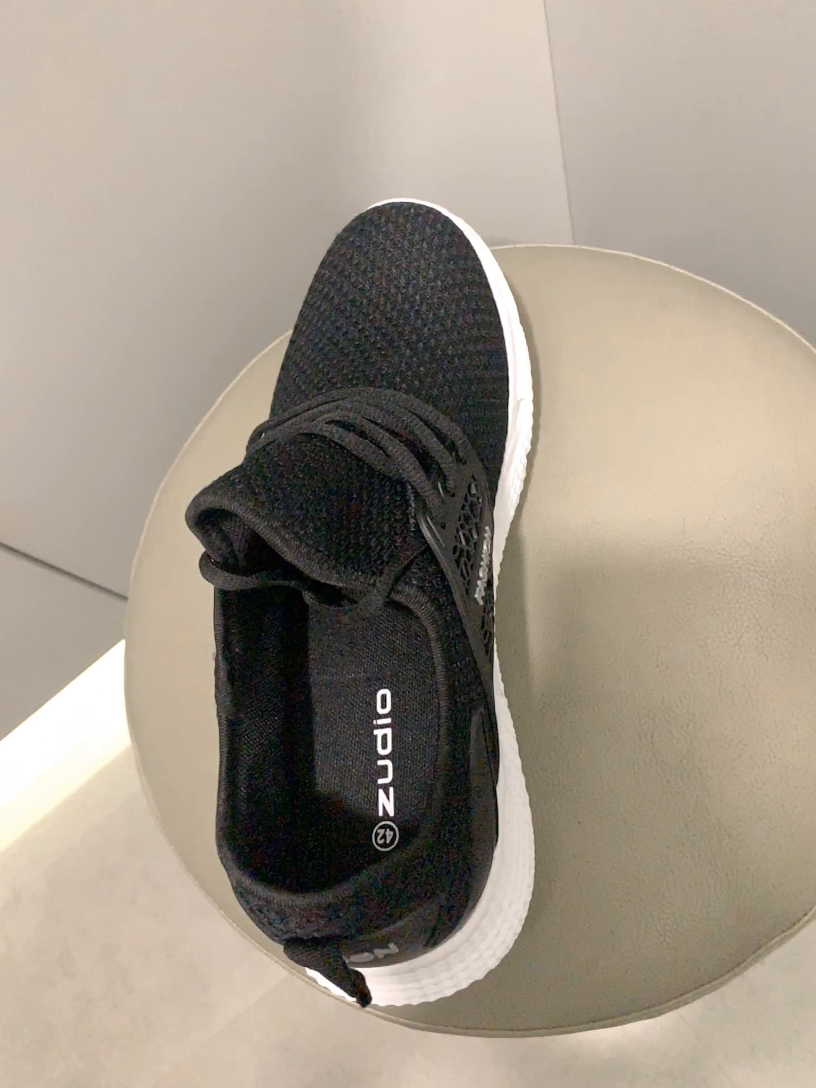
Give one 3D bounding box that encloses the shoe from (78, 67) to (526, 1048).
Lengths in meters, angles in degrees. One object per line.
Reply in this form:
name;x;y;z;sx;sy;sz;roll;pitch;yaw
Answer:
shoe;-0.017;-0.003;0.303;0.100;0.110;0.290;-2;72;16
